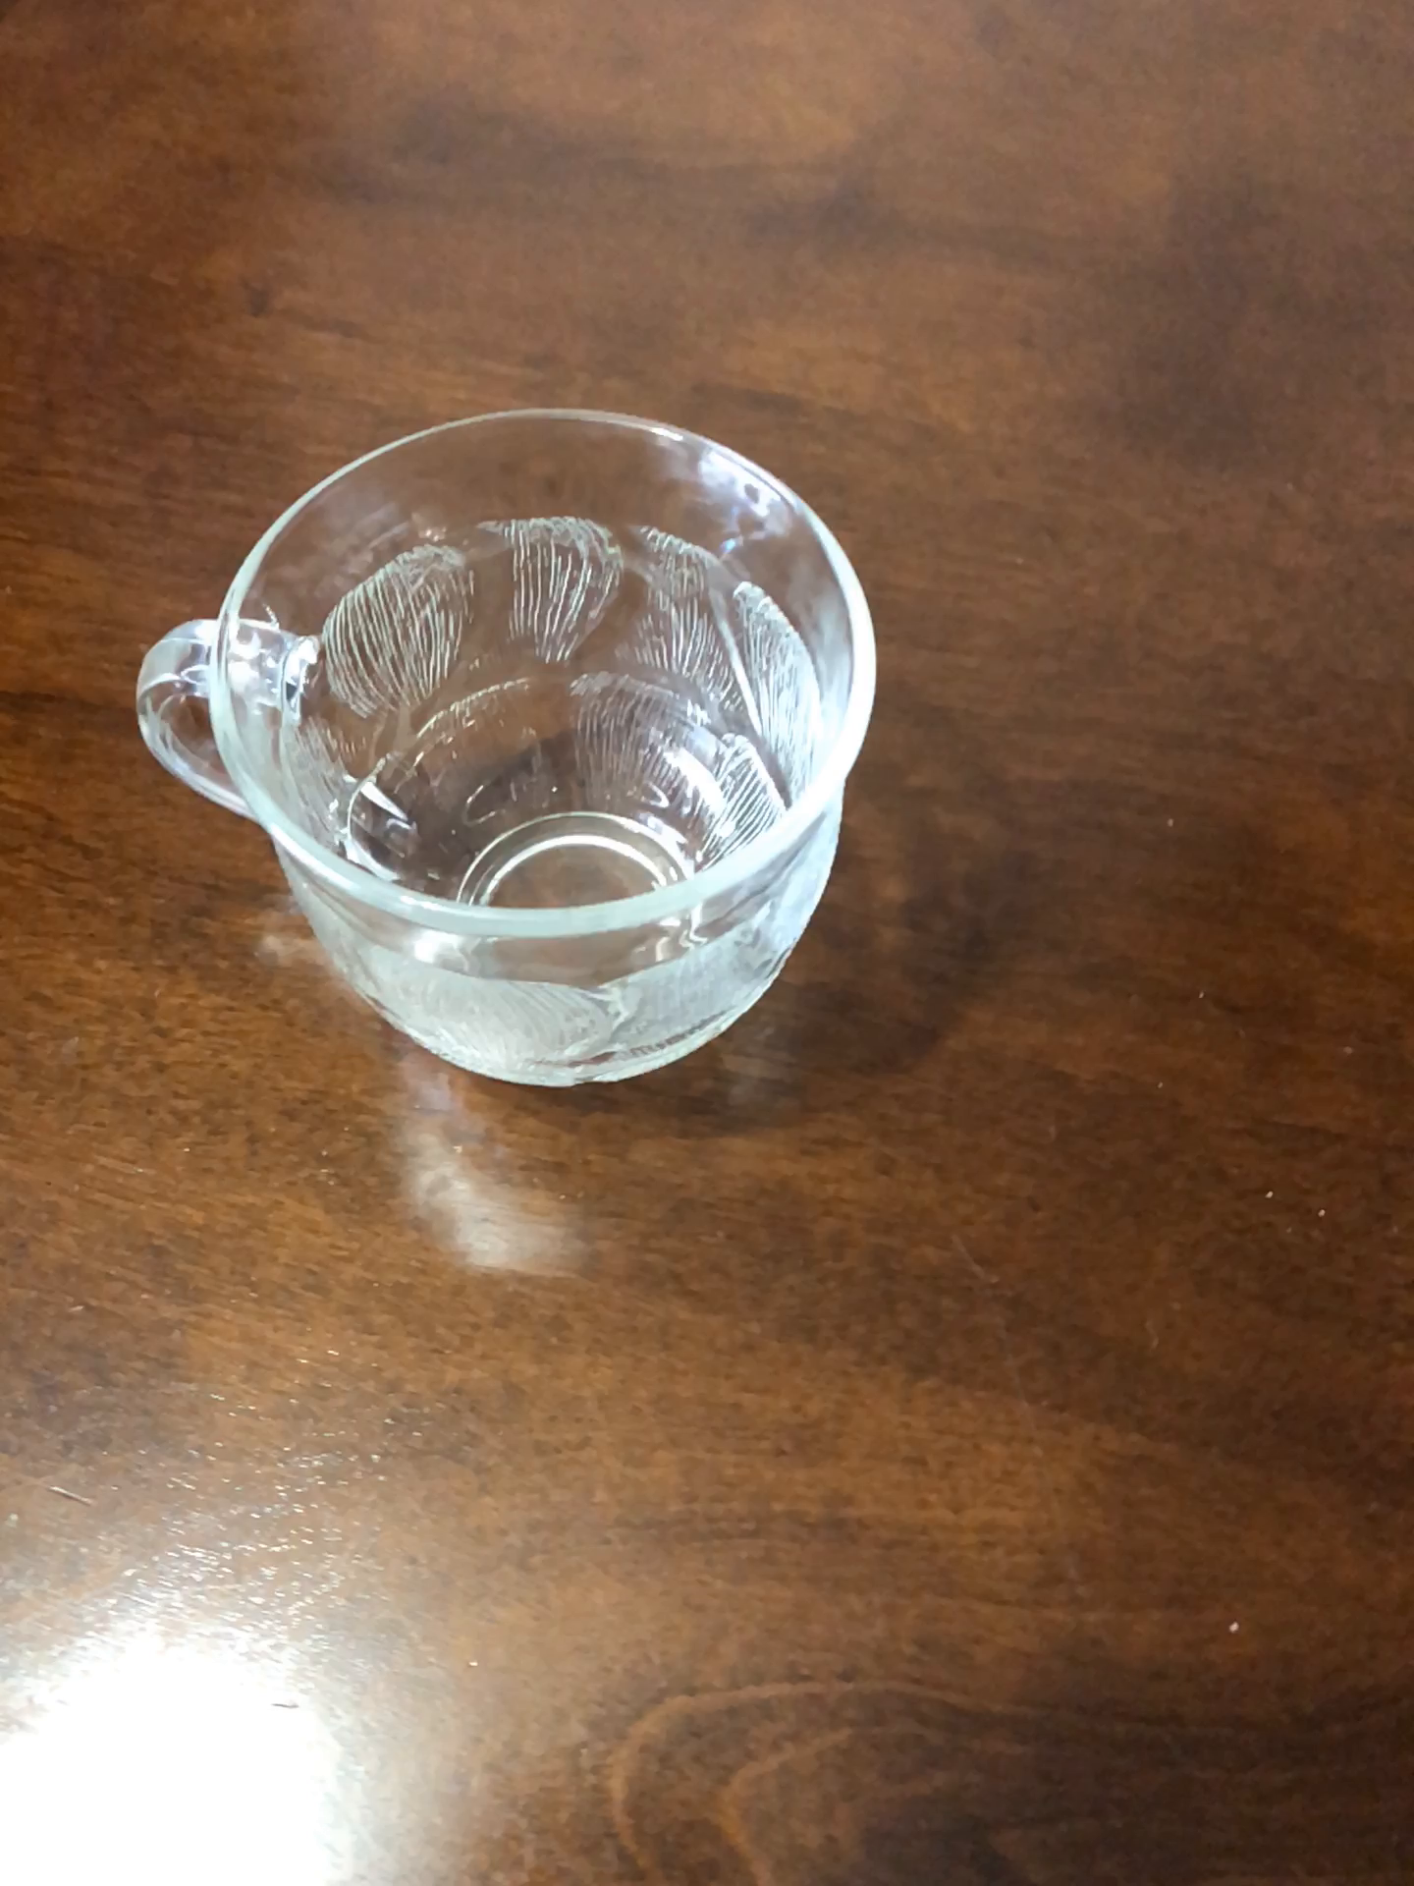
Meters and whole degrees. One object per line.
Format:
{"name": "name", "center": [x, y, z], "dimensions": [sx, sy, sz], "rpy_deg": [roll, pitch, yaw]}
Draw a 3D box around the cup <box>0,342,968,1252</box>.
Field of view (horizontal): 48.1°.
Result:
{"name": "cup", "center": [-0.028, -0.020, 0.201], "dimensions": [0.100, 0.050, 0.080], "rpy_deg": [14, 61, 7]}
